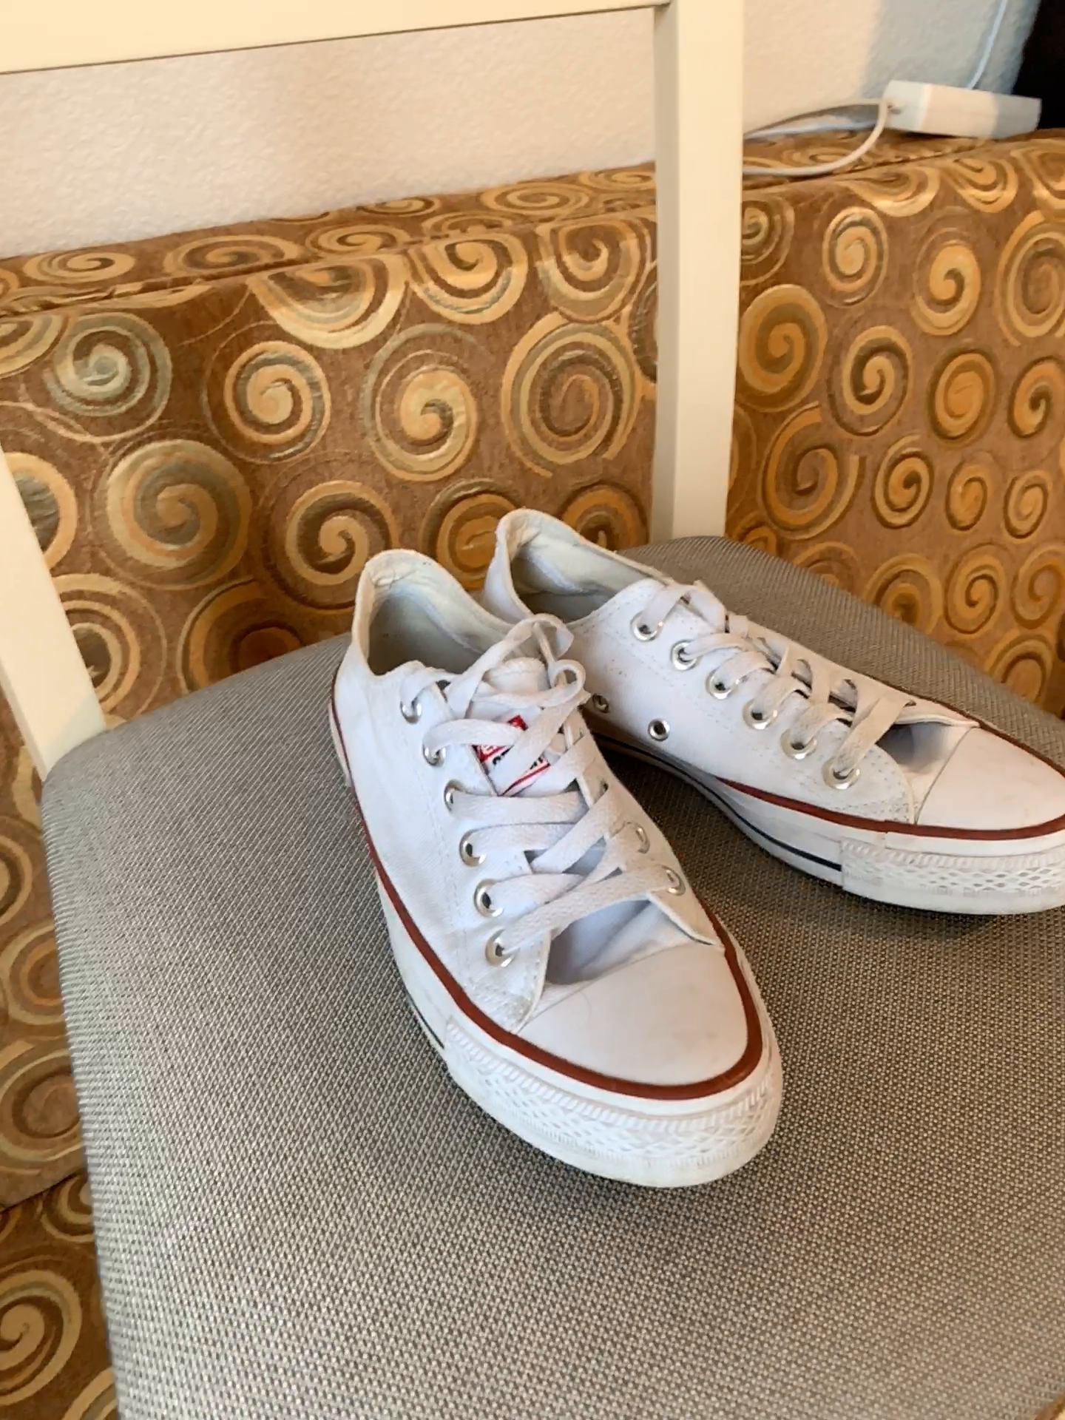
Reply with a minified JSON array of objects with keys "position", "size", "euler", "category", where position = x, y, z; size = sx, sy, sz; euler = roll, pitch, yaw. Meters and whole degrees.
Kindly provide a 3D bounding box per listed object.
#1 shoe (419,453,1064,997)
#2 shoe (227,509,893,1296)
[{"position":[0.077,-0.007,0.373],"size":[0.220,0.060,0.090],"euler":[26,49,23],"category":"shoe"},{"position":[-0.010,0.034,0.323],"size":[0.090,0.060,0.221],"euler":[-19,48,-20],"category":"shoe"}]
